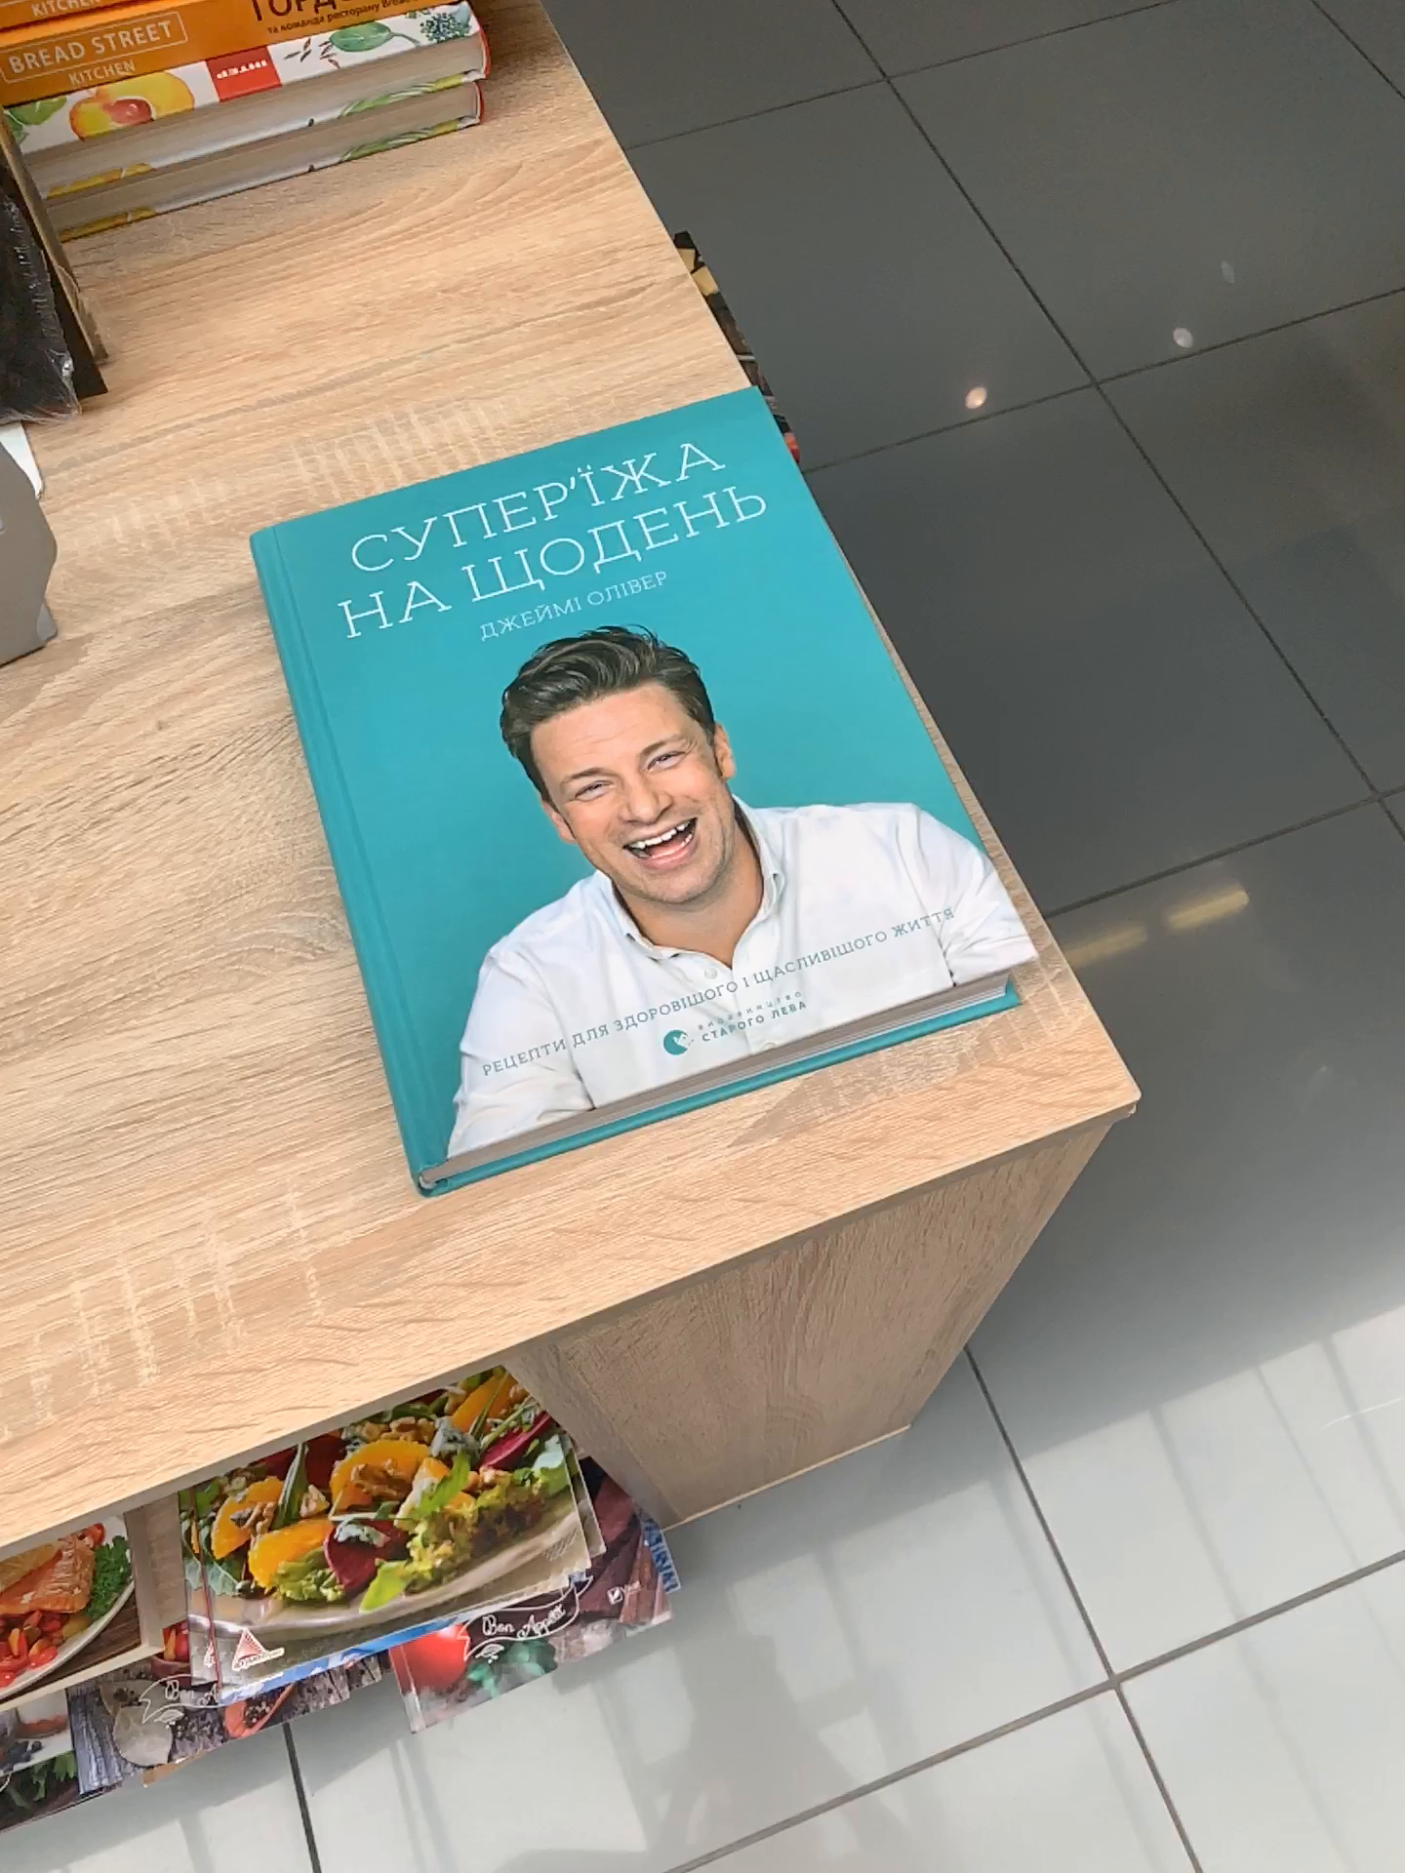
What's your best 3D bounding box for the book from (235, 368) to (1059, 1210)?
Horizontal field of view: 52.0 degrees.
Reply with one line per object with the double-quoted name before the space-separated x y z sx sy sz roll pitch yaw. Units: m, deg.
"book" -0.030 -0.064 0.479 0.200 0.030 0.255 -18 64 -5
